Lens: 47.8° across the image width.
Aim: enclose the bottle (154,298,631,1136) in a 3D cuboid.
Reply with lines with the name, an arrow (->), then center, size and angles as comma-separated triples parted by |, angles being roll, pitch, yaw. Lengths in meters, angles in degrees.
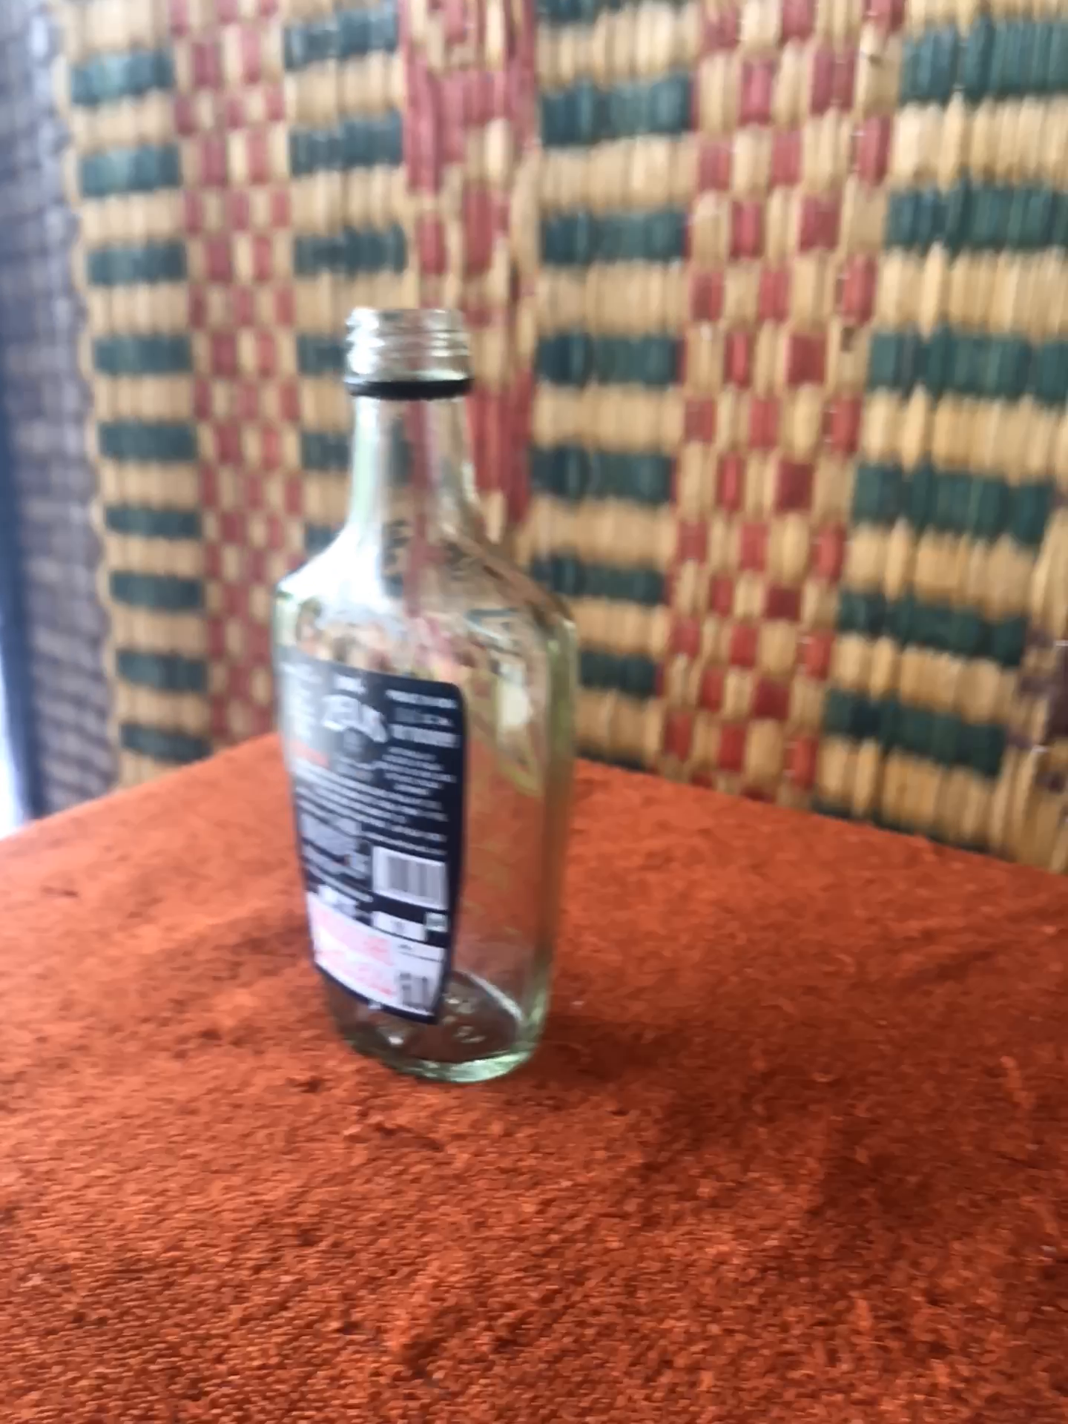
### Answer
bottle -> -0.025, -0.003, 0.242 | 0.080, 0.149, 0.040 | 14, 25, 37
